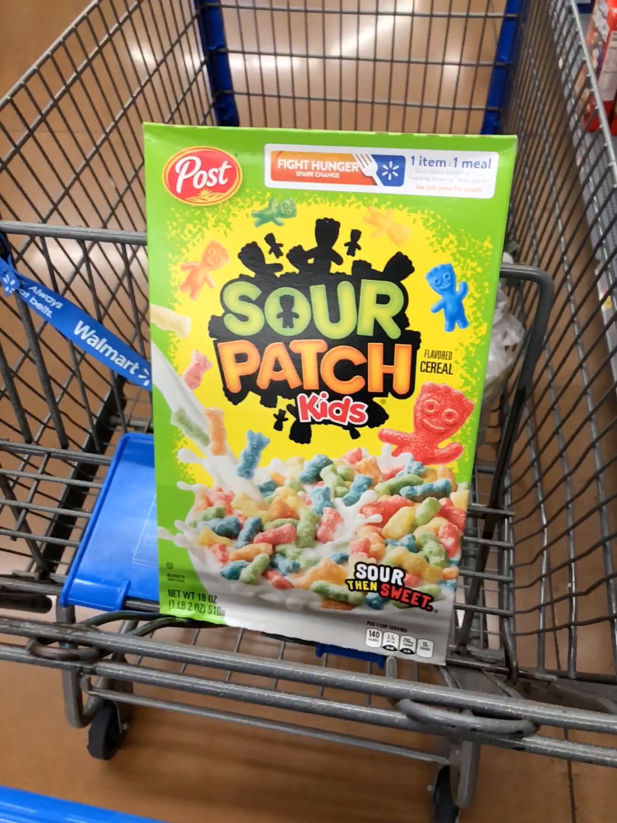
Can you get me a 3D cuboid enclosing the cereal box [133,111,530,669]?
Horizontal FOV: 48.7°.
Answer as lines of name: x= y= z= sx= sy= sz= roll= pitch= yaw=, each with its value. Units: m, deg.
cereal box: x=0.009 y=-0.010 z=0.430 sx=0.200 sy=0.320 sz=0.080 roll=6 pitch=21 yaw=10
